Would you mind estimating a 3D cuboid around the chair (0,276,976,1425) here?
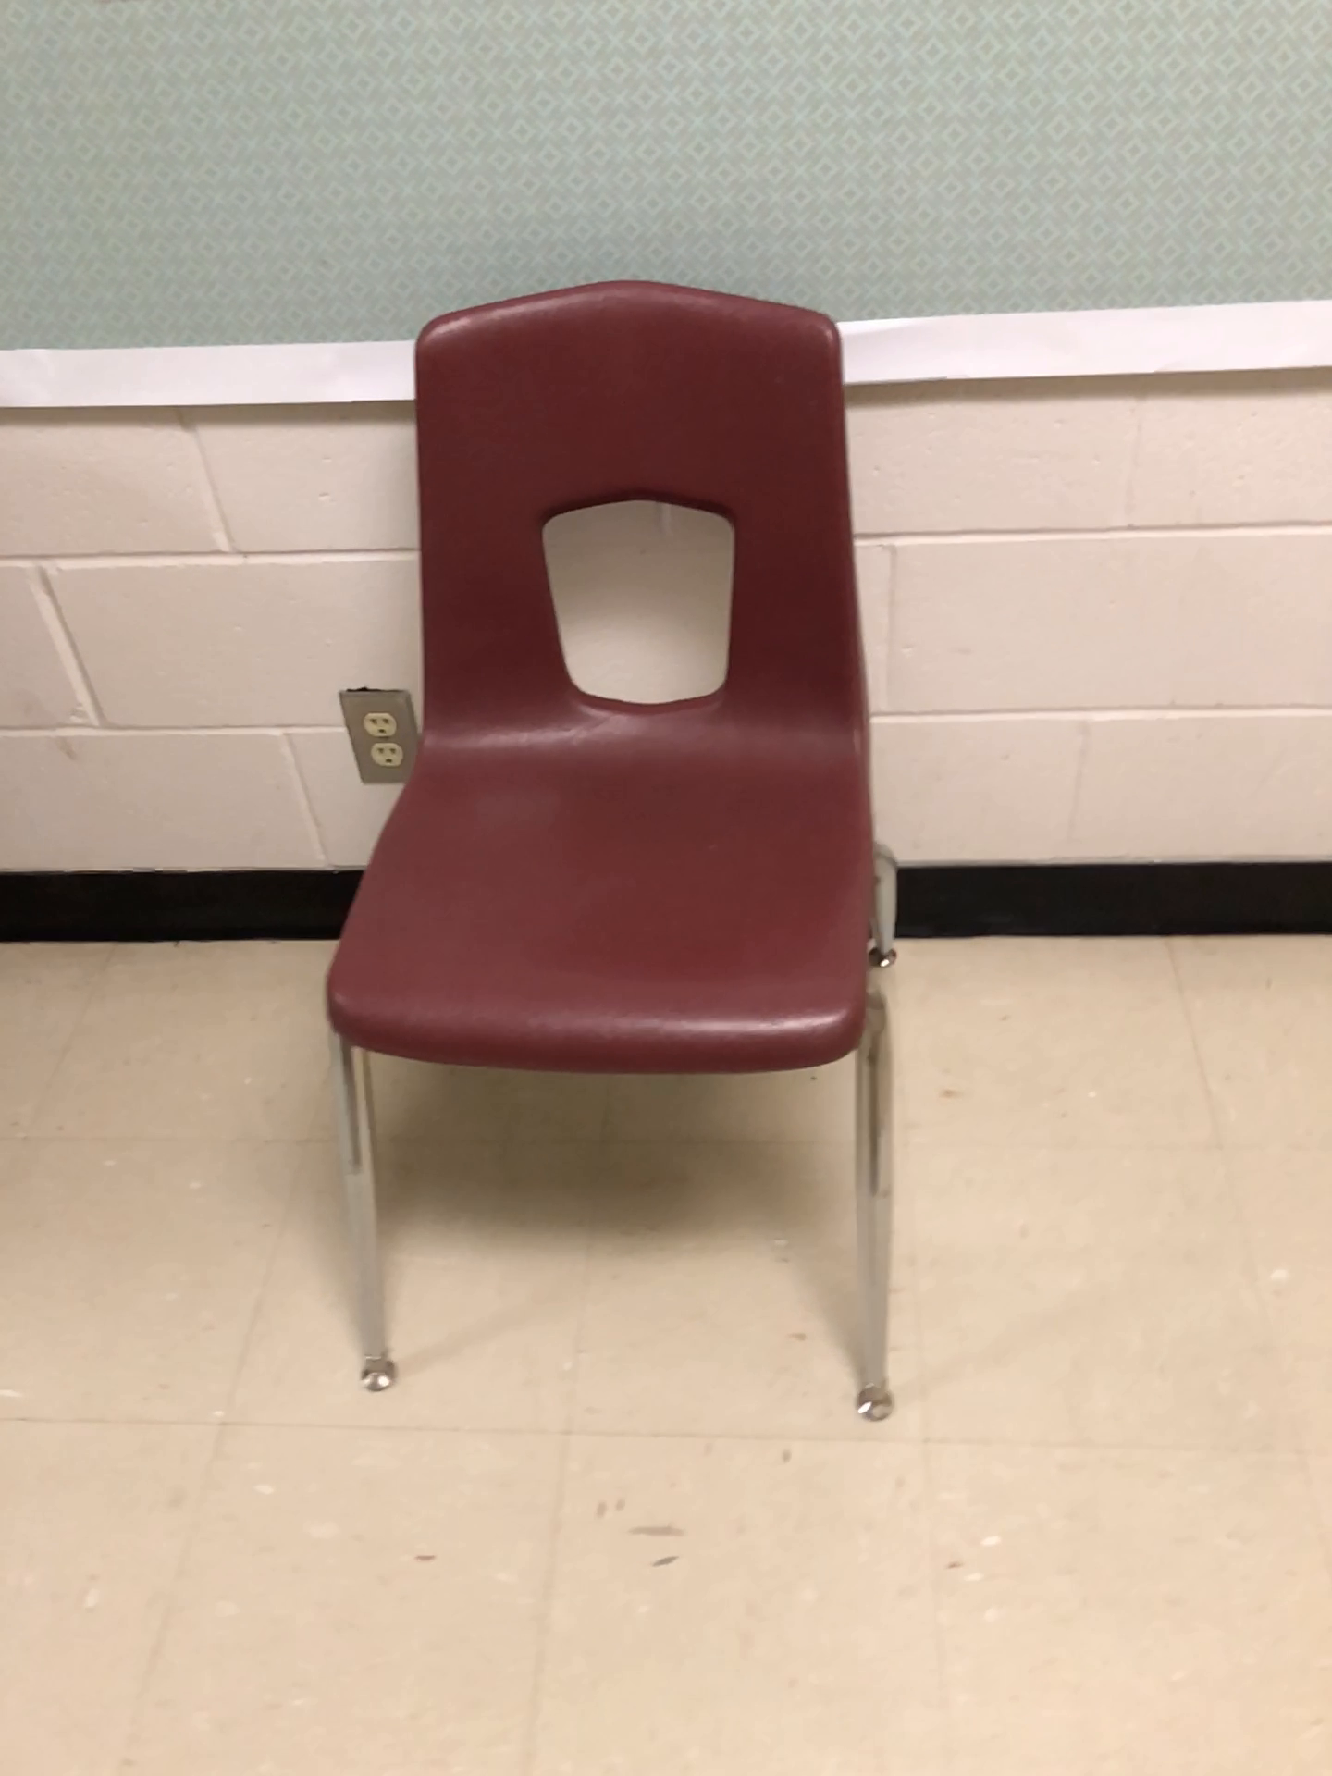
[{"bbox_3d":[-0.053,-0.018,1.166,0.504,0.707,0.557,1,44,7],"label":"chair"}]
